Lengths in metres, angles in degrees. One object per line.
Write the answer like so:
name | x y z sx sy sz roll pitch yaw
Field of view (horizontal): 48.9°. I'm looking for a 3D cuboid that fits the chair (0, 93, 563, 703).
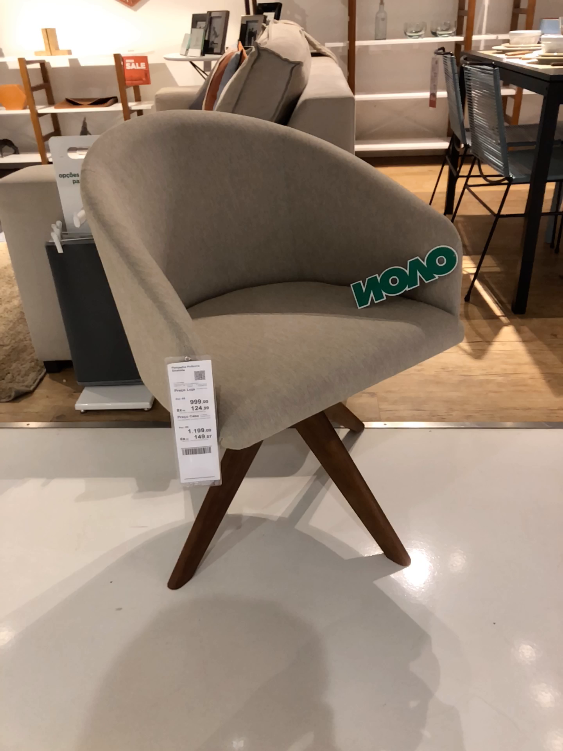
chair | -0.026 -0.071 1.224 0.692 0.794 0.714 -23 35 -31
